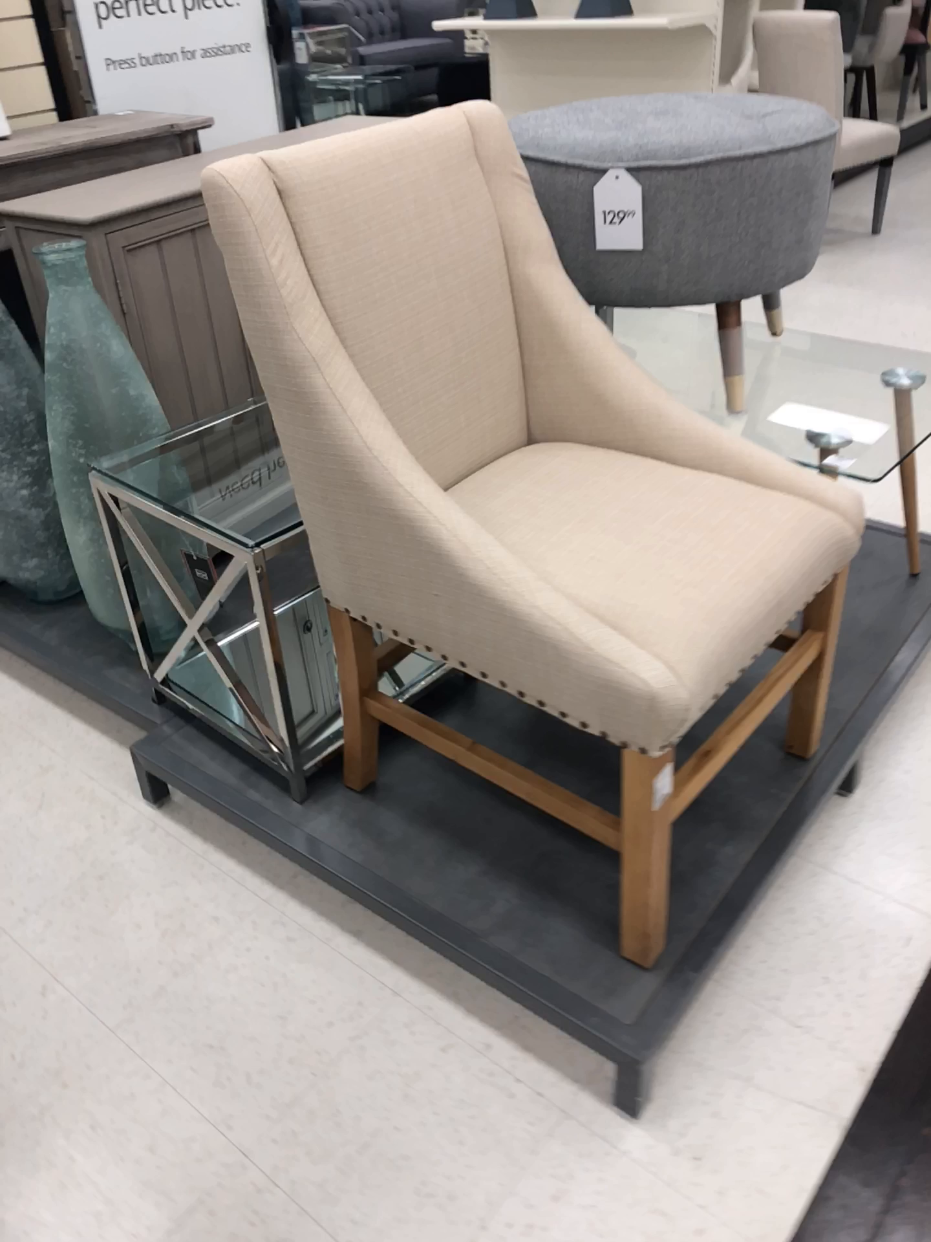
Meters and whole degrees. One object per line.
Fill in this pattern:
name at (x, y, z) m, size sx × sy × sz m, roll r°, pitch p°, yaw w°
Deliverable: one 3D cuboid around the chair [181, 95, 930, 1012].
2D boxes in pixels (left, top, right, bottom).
chair at (0.155, -0.142, 1.414) m, size 0.651 × 0.966 × 0.611 m, roll 21°, pitch 41°, yaw 33°
